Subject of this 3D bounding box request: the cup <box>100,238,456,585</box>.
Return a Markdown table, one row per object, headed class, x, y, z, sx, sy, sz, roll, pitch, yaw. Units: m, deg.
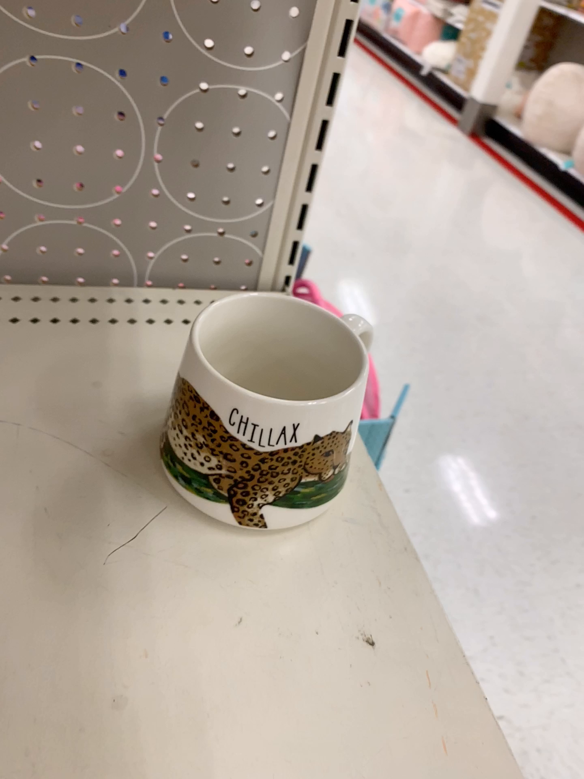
| class | x | y | z | sx | sy | sz | roll | pitch | yaw |
| --- | --- | --- | --- | --- | --- | --- | --- | --- | --- |
| cup | -0.008 | 0.000 | 0.324 | 0.110 | 0.090 | 0.141 | 36 | 44 | 23 |
